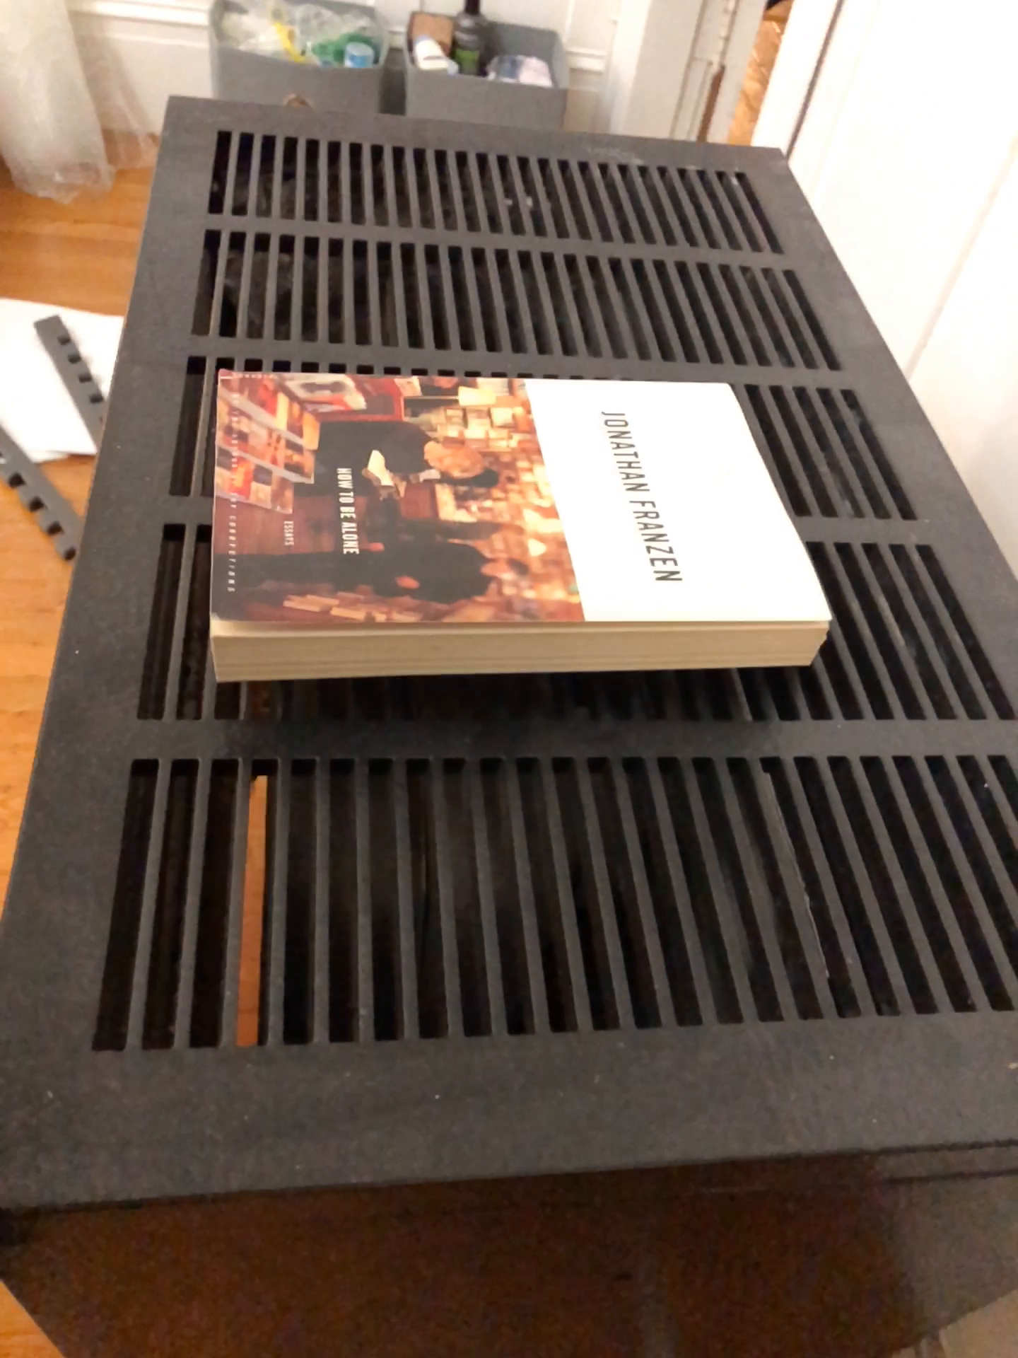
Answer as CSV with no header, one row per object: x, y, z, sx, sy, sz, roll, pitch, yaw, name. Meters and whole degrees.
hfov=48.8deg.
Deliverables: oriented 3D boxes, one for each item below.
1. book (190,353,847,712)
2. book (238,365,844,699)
-0.004,-0.059,0.409,0.210,0.030,0.151,-2,49,-12,book
0.003,-0.063,0.439,0.210,0.030,0.151,-2,49,-12,book
